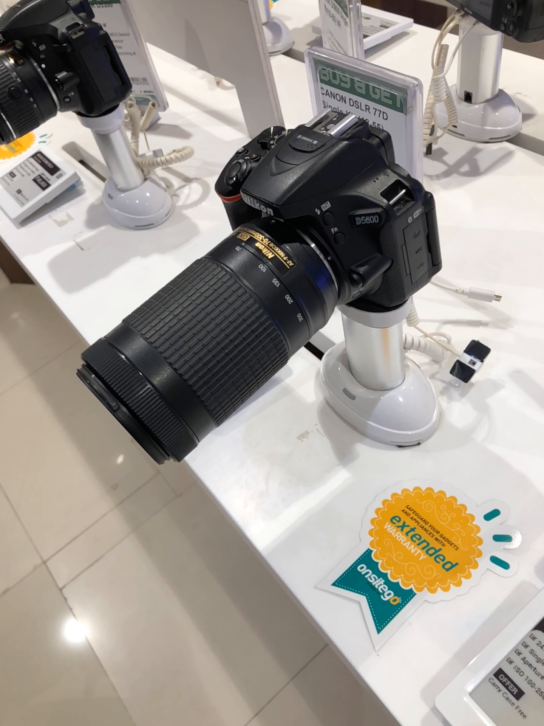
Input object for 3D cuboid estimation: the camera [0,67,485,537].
[{"bbox_3d":[-0.019,-0.046,0.306,0.200,0.089,0.141,-38,53,-18],"label":"camera"}]
